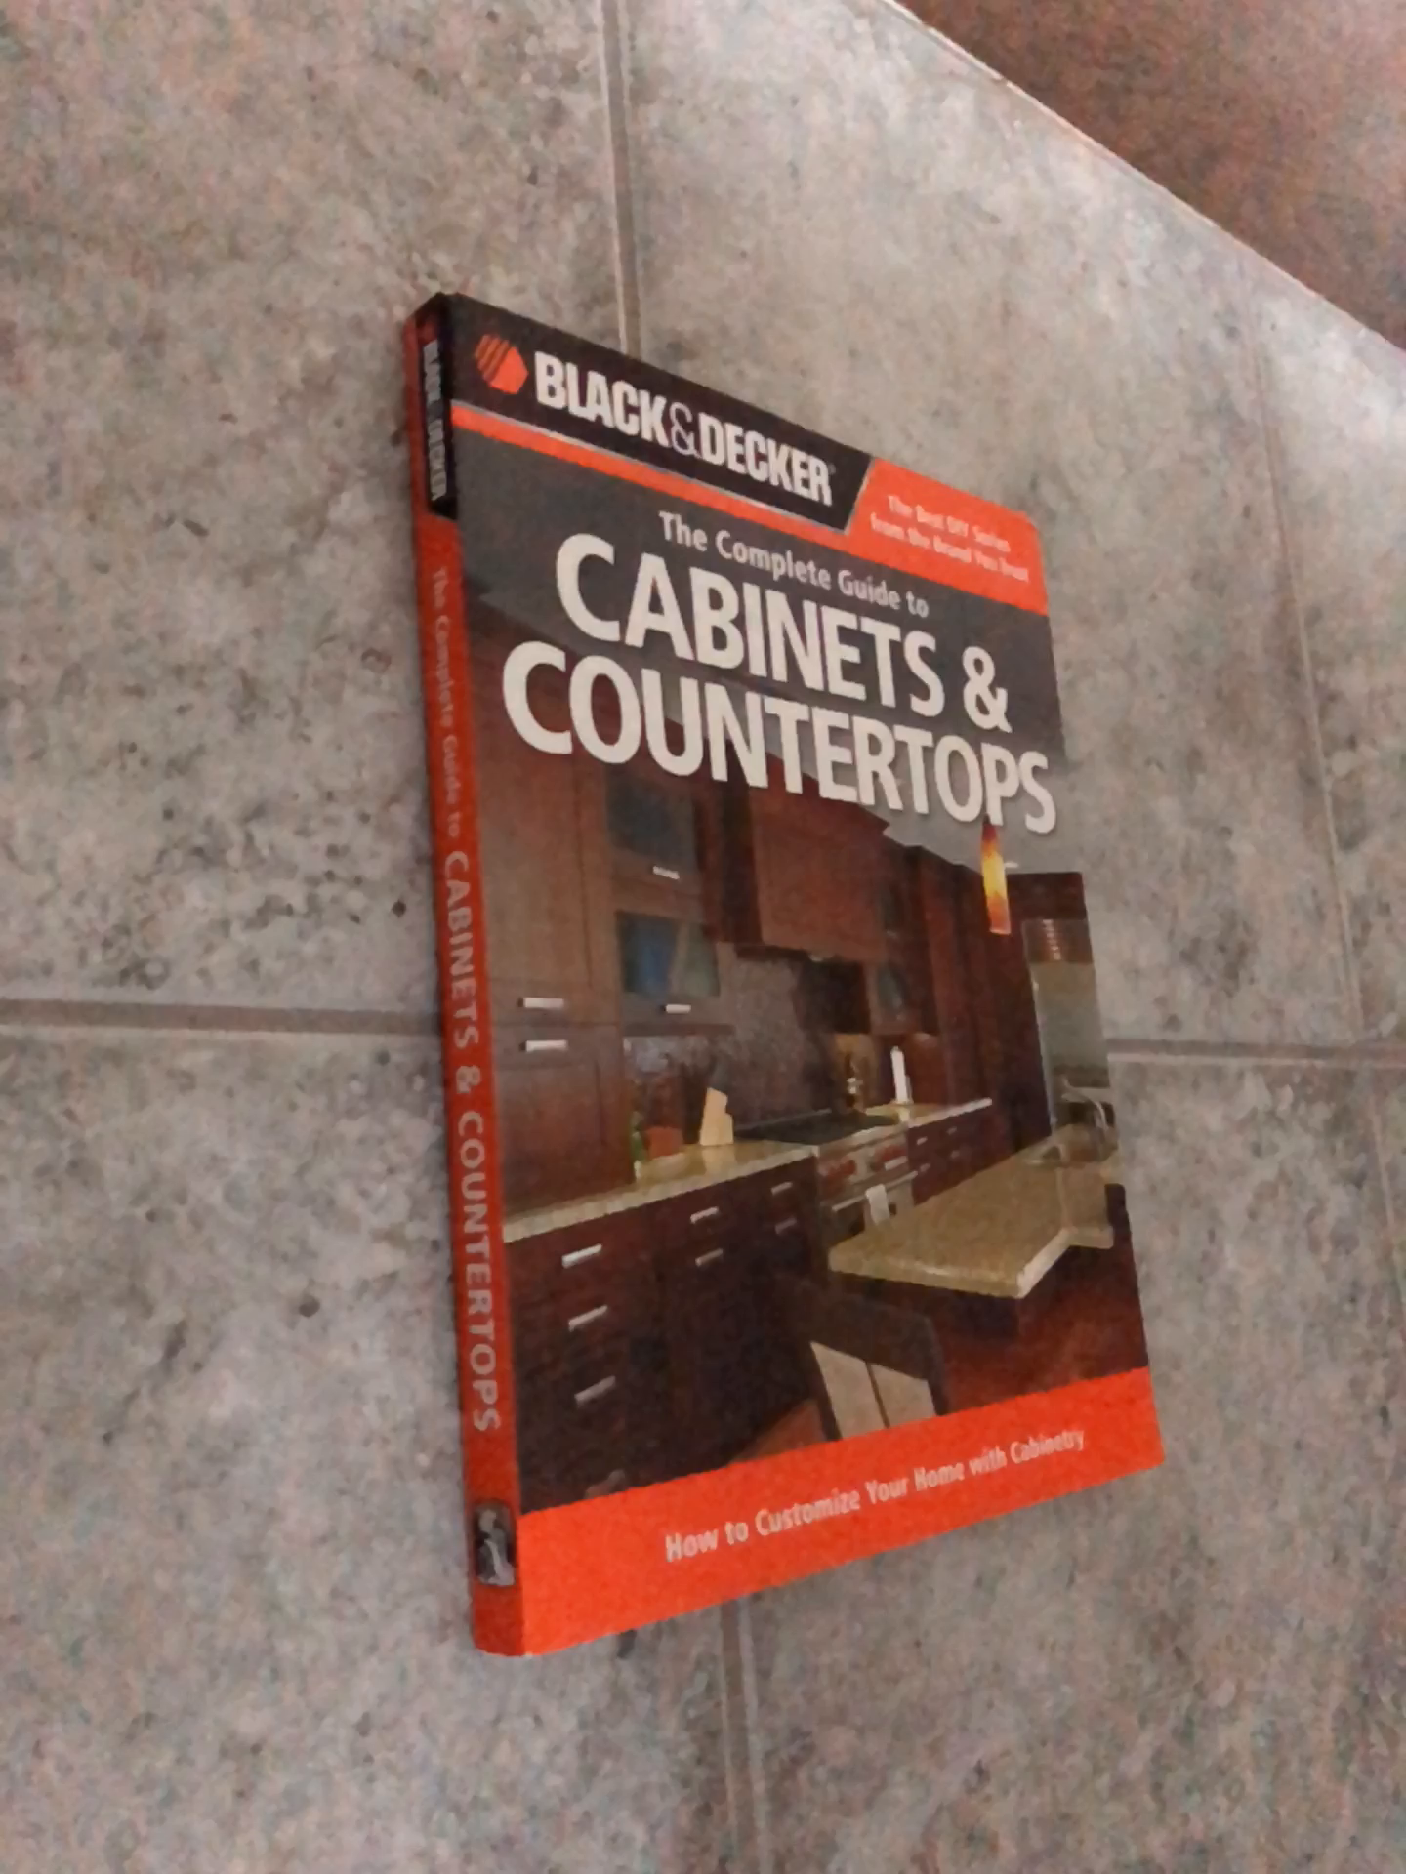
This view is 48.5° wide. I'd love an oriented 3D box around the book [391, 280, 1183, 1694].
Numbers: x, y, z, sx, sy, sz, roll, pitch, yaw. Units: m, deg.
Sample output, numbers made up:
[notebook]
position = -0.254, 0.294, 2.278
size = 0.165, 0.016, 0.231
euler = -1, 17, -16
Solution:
[book]
position = 0.030, 0.007, 0.385
size = 0.217, 0.022, 0.281
euler = 5, 76, -42
